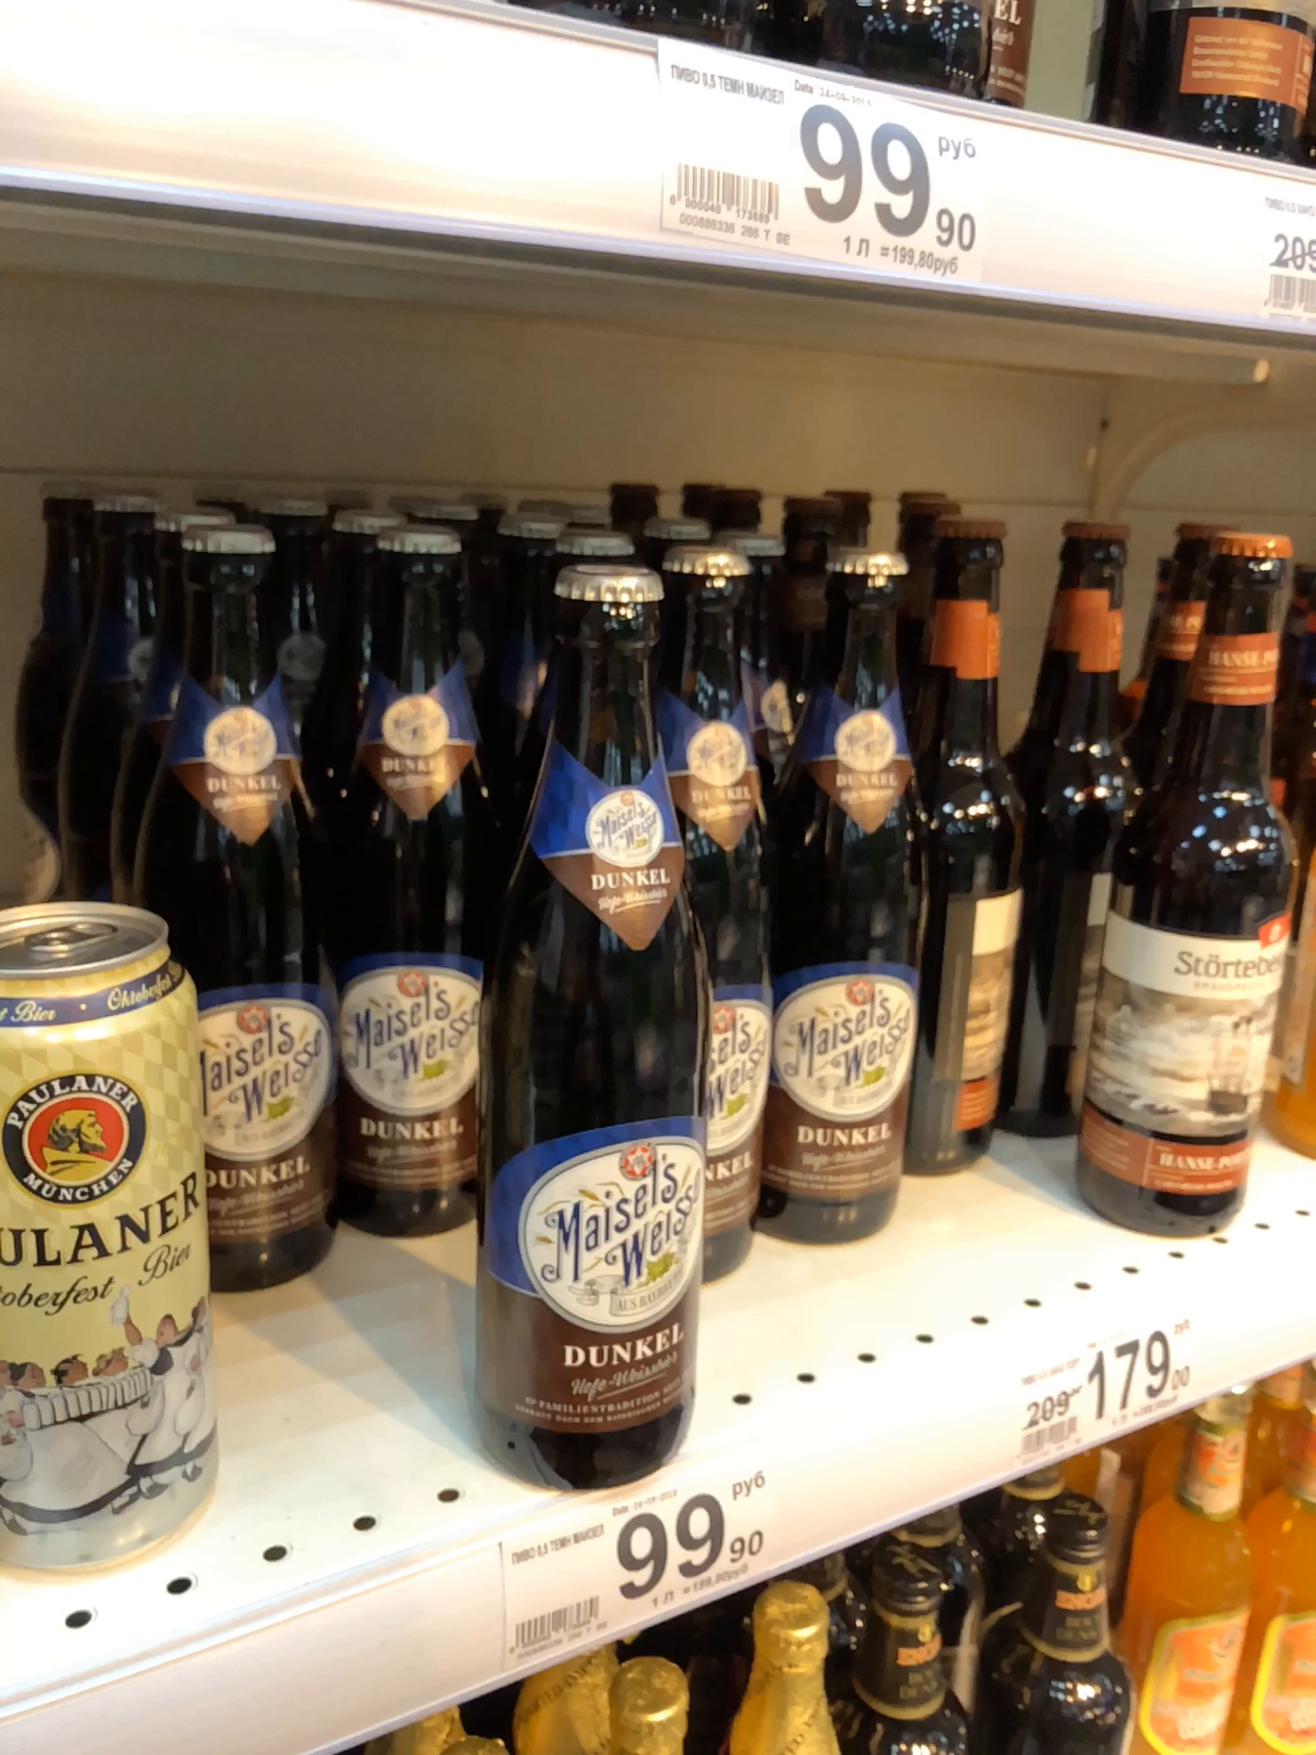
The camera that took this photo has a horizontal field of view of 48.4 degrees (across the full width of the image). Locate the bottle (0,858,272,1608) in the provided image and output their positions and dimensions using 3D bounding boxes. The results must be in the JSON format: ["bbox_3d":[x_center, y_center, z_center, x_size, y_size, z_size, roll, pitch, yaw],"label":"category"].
[{"bbox_3d":[-0.149,0.088,0.386,0.069,0.167,0.068,3,16,-1],"label":"bottle"}]

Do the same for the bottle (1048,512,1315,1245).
[{"bbox_3d":[0.215,0.001,0.571,0.065,0.273,0.067,3,16,-1],"label":"bottle"}]

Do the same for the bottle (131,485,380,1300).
[{"bbox_3d":[-0.136,0.003,0.503,0.070,0.261,0.082,-2,17,-17],"label":"bottle"}]

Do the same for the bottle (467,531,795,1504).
[{"bbox_3d":[-0.014,0.039,0.416,0.065,0.262,0.067,3,16,-1],"label":"bottle"}]
